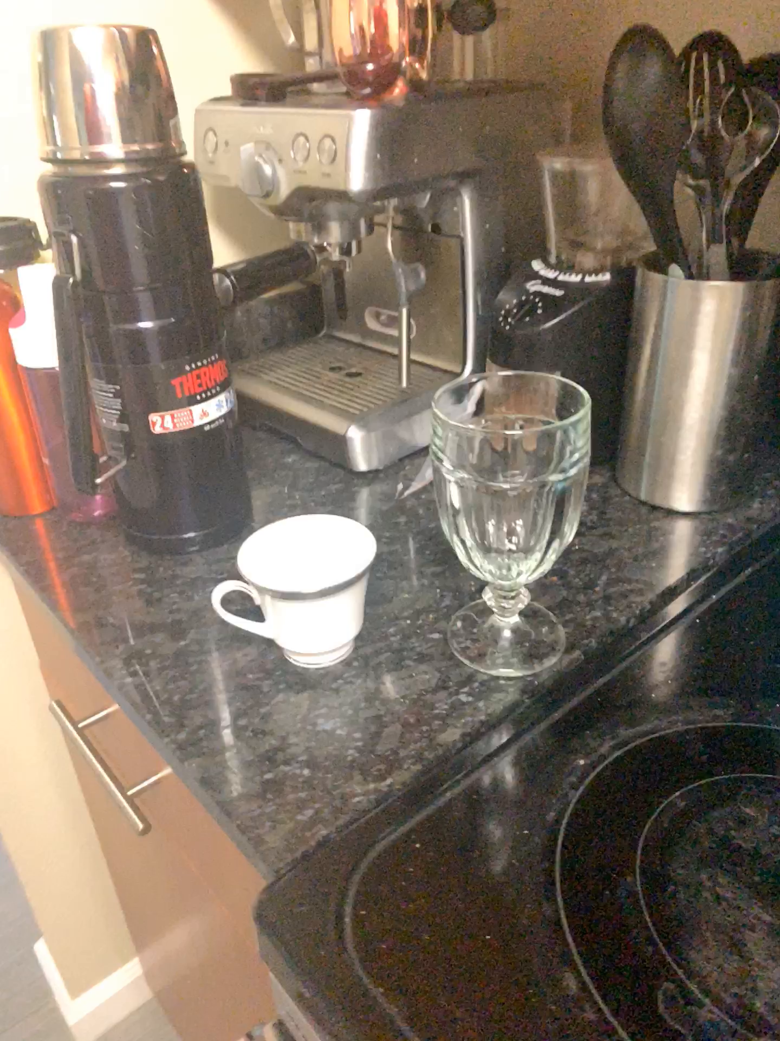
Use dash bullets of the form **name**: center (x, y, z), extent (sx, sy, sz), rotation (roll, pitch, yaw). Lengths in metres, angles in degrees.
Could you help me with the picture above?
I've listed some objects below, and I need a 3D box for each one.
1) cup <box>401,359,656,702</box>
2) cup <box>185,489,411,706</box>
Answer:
- **cup**: center (0.083, 0.002, 0.516), extent (0.110, 0.169, 0.101), rotation (-2, 30, 1)
- **cup**: center (-0.060, 0.044, 0.523), extent (0.110, 0.070, 0.101), rotation (-2, 30, 1)
